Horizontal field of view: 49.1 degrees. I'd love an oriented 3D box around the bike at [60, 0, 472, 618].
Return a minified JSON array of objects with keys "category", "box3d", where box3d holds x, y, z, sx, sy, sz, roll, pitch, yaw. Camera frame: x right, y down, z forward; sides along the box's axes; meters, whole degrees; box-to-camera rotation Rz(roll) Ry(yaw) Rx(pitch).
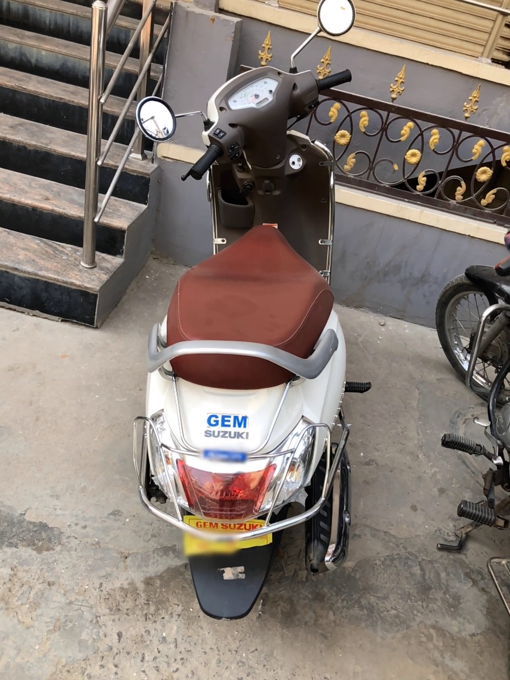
[{"category":"bike","box3d":[-0.071,-0.261,1.742,0.597,1.194,1.494,10,35,-6]}]
